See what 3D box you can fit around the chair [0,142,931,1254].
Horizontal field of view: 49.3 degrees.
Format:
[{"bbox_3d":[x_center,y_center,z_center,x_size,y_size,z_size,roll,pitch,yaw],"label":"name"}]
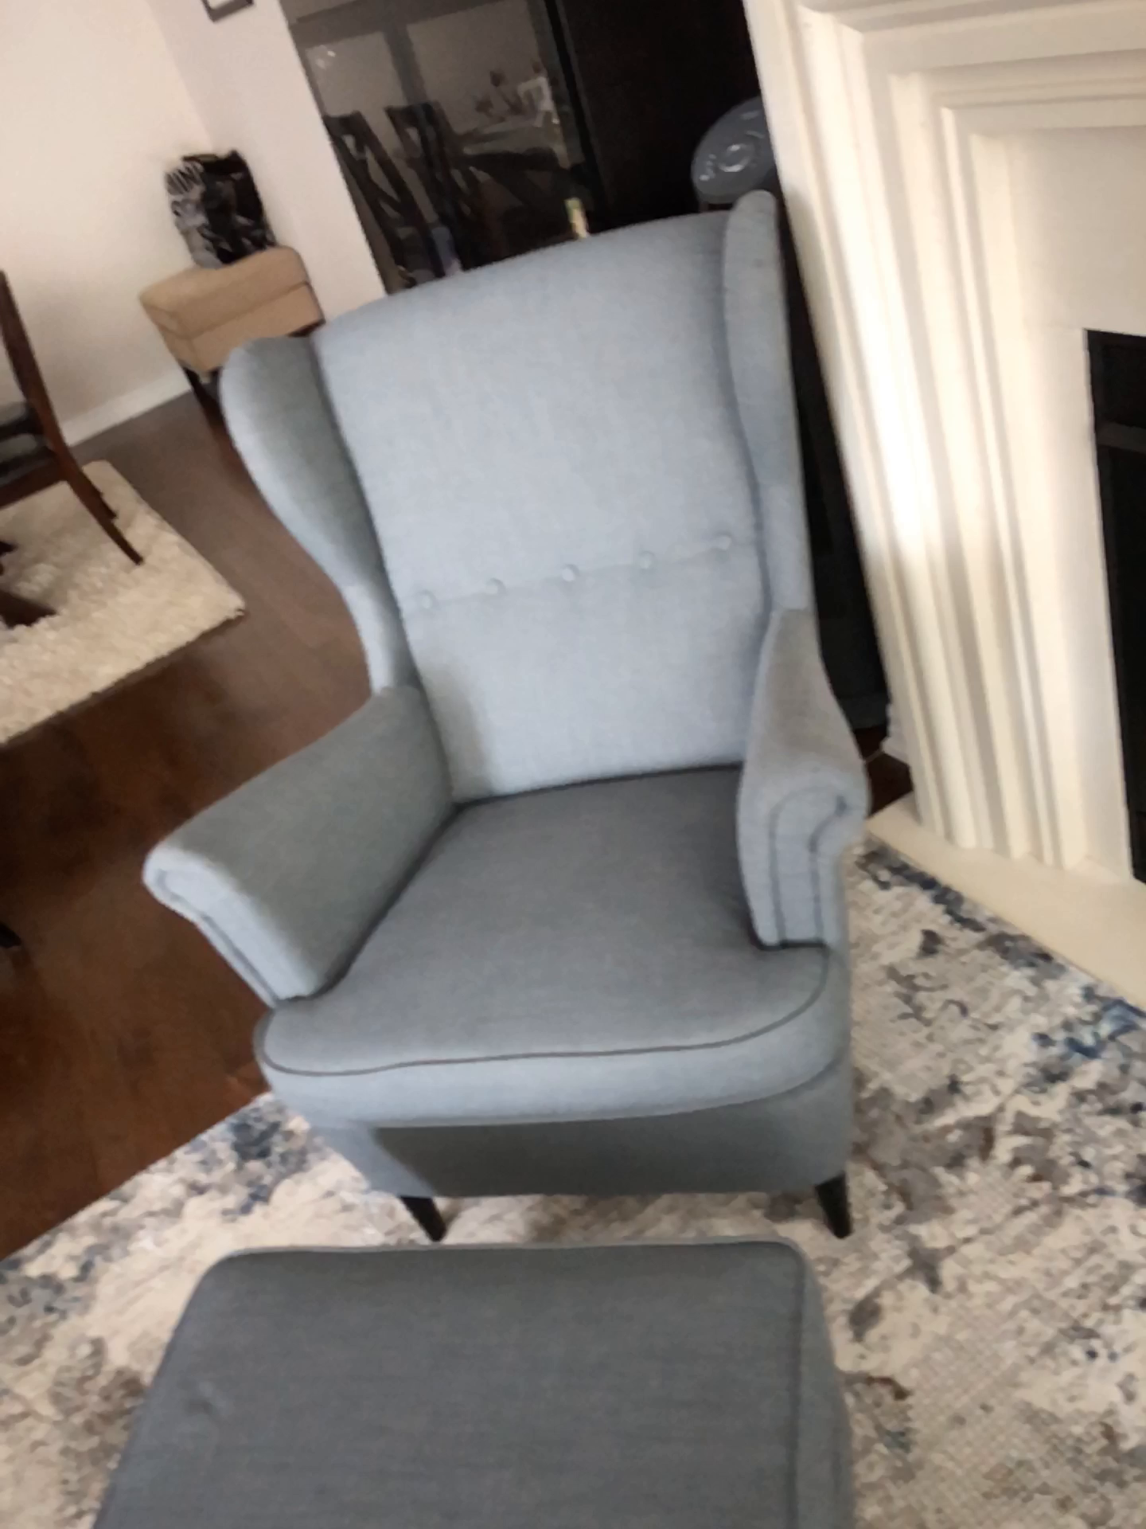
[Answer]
[{"bbox_3d":[-0.063,-0.061,1.573,0.801,0.966,0.853,-9,35,18],"label":"chair"}]
